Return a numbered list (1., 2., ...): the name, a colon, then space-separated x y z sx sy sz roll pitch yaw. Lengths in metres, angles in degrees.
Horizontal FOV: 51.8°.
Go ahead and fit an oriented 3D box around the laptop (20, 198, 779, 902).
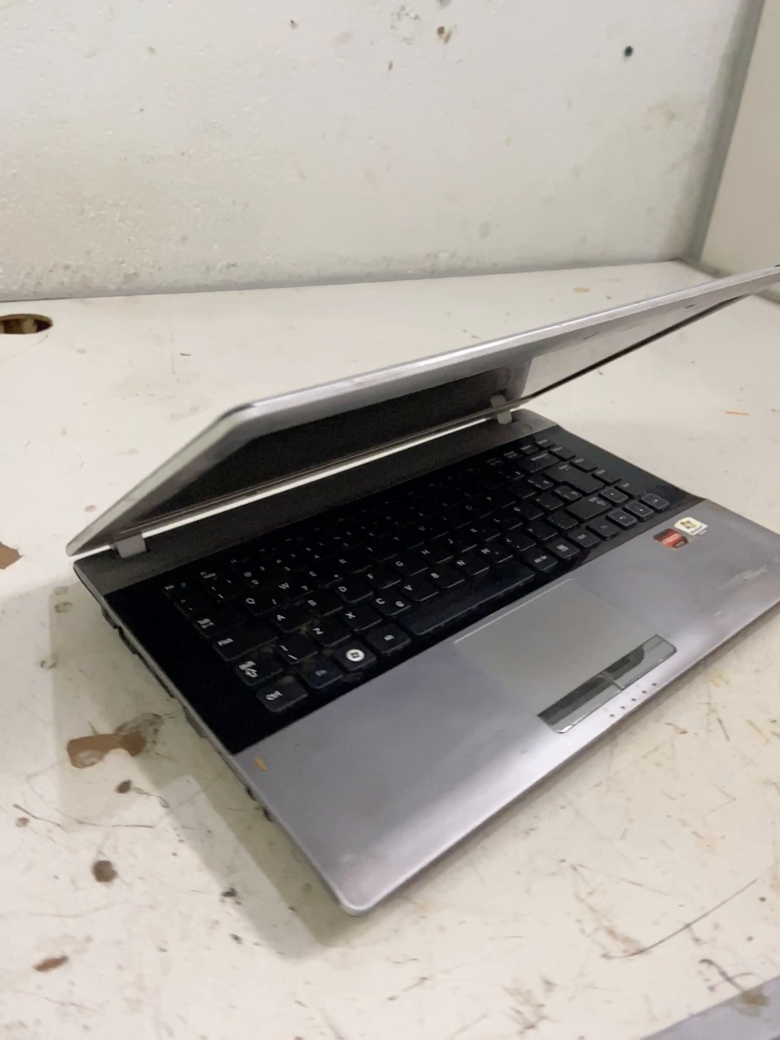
1. laptop: 0.049 -0.043 0.398 0.346 0.150 0.233 -22 41 -35
